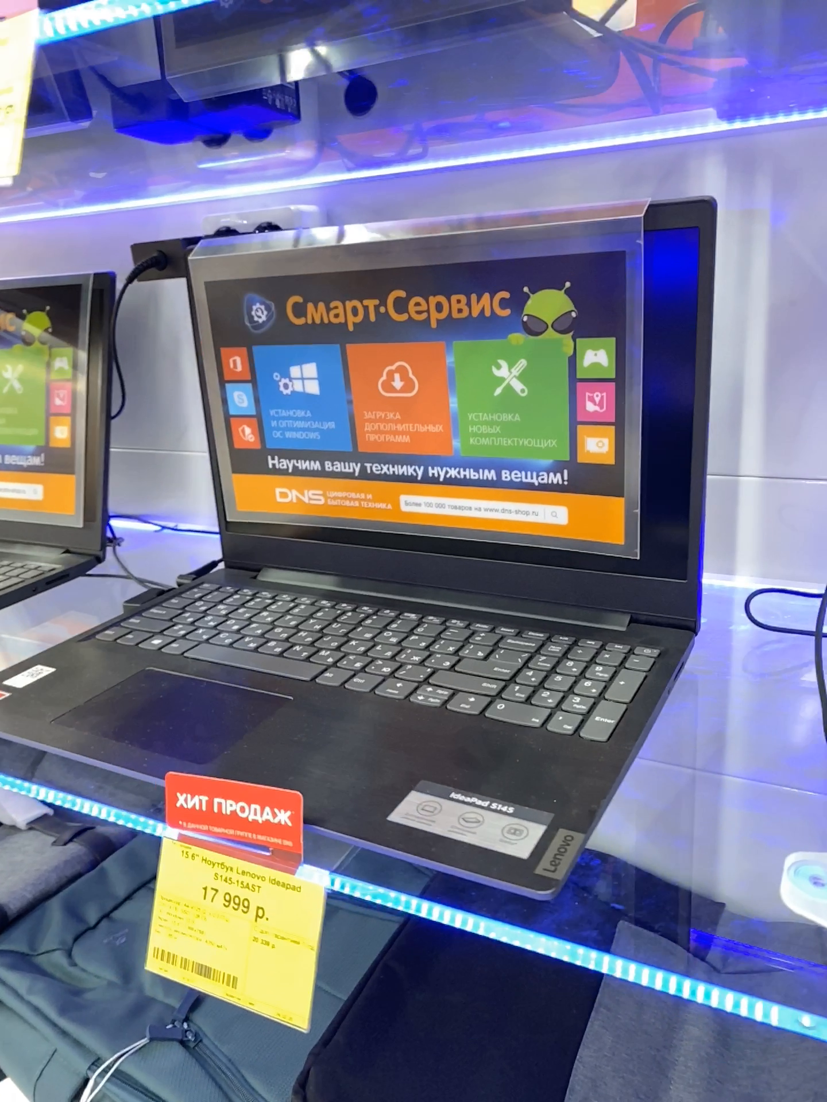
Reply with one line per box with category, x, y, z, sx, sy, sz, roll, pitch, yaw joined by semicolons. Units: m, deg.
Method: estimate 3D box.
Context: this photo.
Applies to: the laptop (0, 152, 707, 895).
laptop;-0.057;-0.047;0.456;0.362;0.239;0.257;6;19;28
